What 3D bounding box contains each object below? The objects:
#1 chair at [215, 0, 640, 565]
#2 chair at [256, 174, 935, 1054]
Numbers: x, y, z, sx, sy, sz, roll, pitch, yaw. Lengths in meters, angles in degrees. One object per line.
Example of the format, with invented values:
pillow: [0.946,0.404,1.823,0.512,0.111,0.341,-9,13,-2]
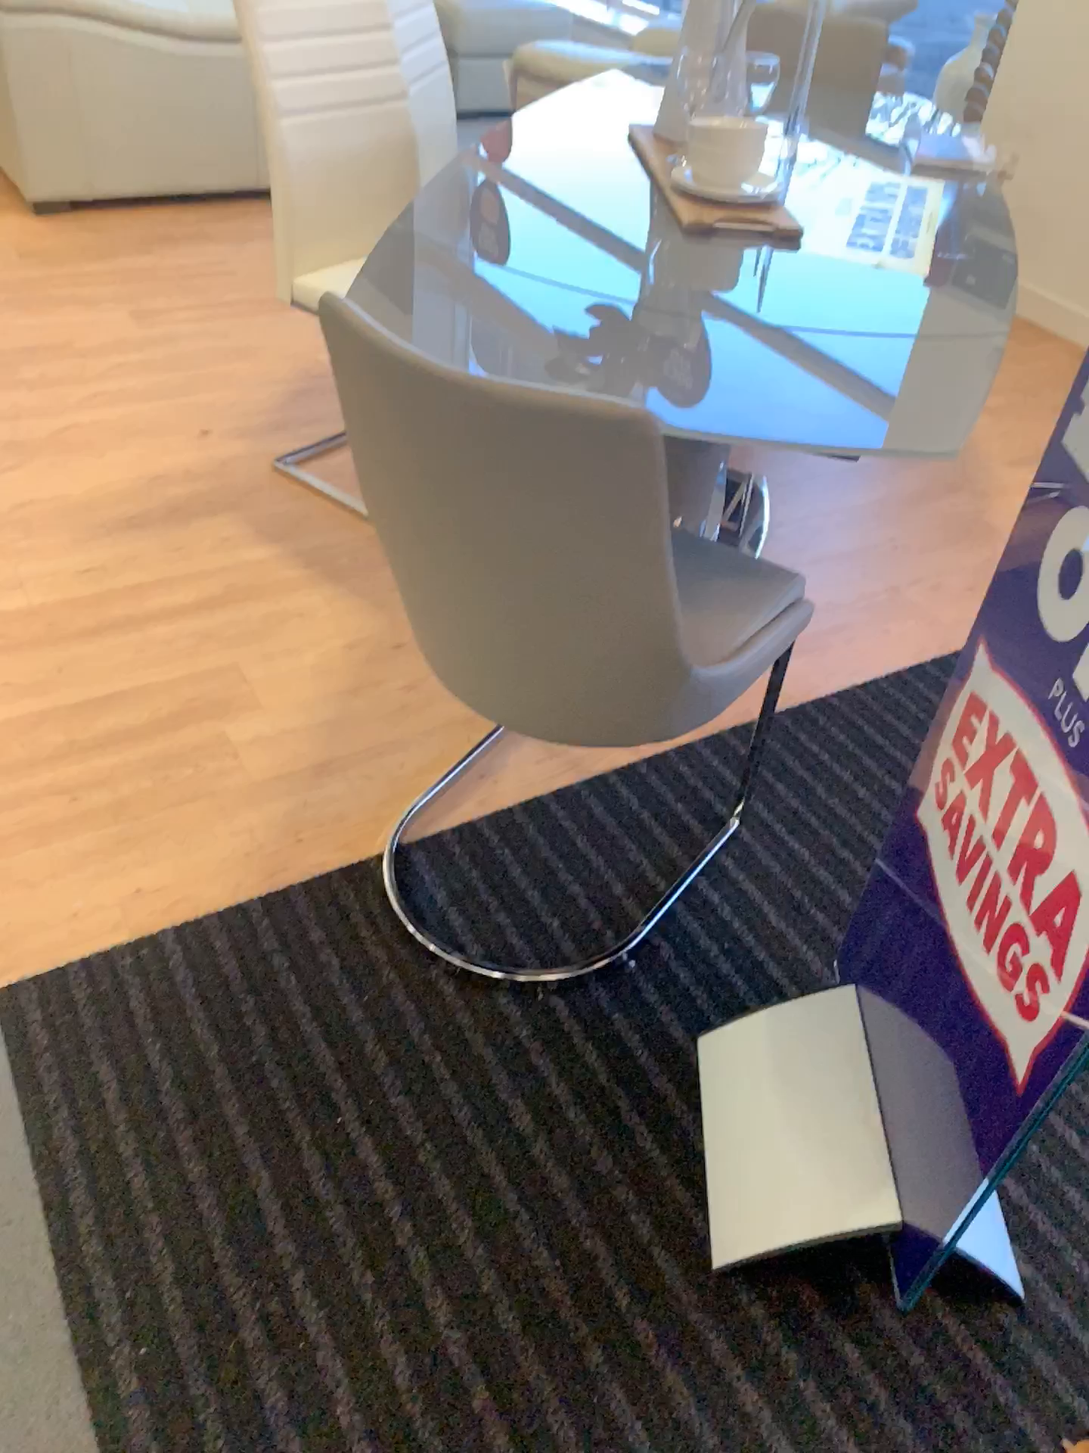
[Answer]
chair: [-0.253,-0.994,2.365,0.591,1.024,0.510,29,45,25]
chair: [0.053,-0.155,1.449,0.508,0.846,0.594,24,43,20]
